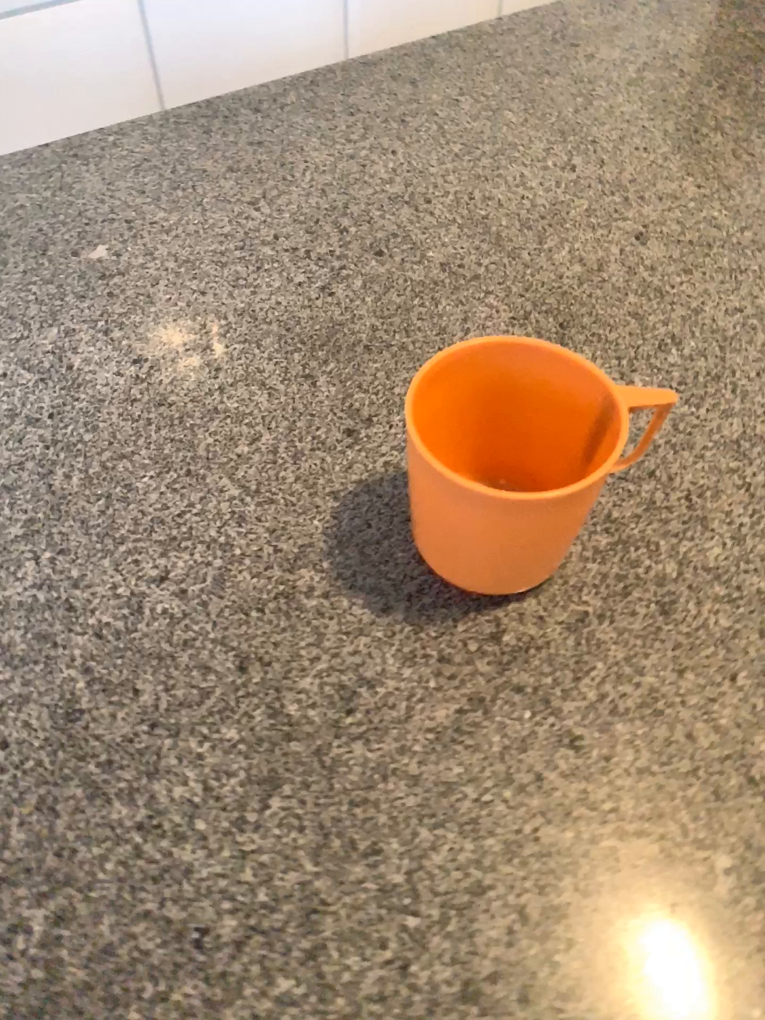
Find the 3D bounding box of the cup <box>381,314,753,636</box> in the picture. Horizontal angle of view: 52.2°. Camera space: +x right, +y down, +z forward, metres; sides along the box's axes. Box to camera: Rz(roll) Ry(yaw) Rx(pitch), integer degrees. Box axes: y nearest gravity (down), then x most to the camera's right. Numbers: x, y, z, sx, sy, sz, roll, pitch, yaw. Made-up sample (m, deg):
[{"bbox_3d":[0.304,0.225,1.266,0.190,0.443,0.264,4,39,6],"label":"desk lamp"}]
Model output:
[{"bbox_3d":[0.060,-0.012,0.307,0.110,0.090,0.080,-4,53,-5],"label":"cup"}]
